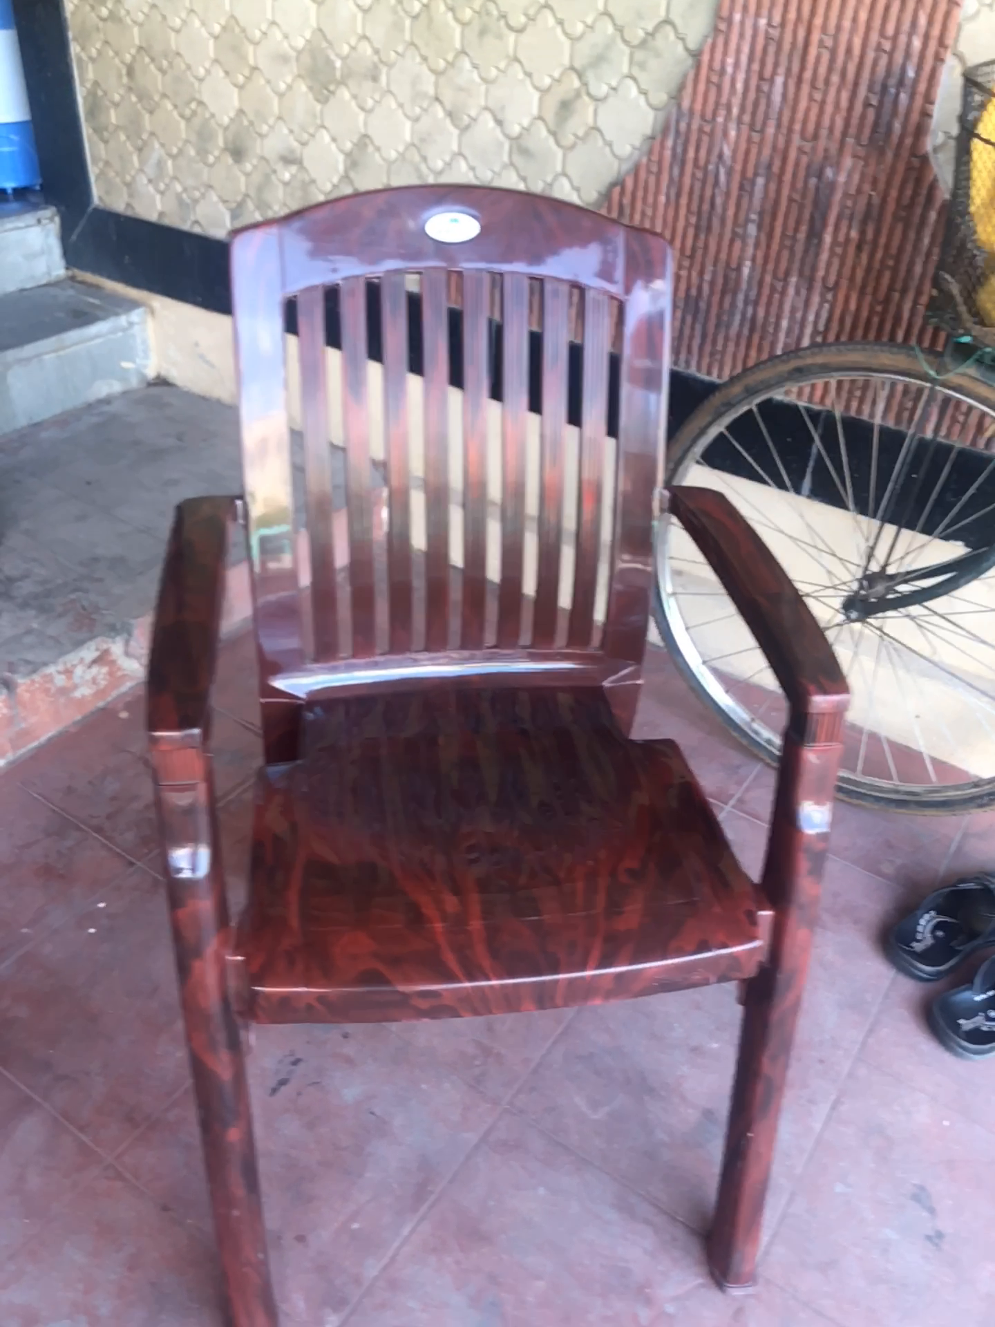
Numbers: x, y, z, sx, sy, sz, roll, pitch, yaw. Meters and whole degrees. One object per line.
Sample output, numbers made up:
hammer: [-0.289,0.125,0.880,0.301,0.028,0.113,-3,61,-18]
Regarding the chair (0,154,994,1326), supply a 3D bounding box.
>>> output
chair: [-0.005,0.061,1.023,0.590,0.845,0.703,-2,35,-7]
